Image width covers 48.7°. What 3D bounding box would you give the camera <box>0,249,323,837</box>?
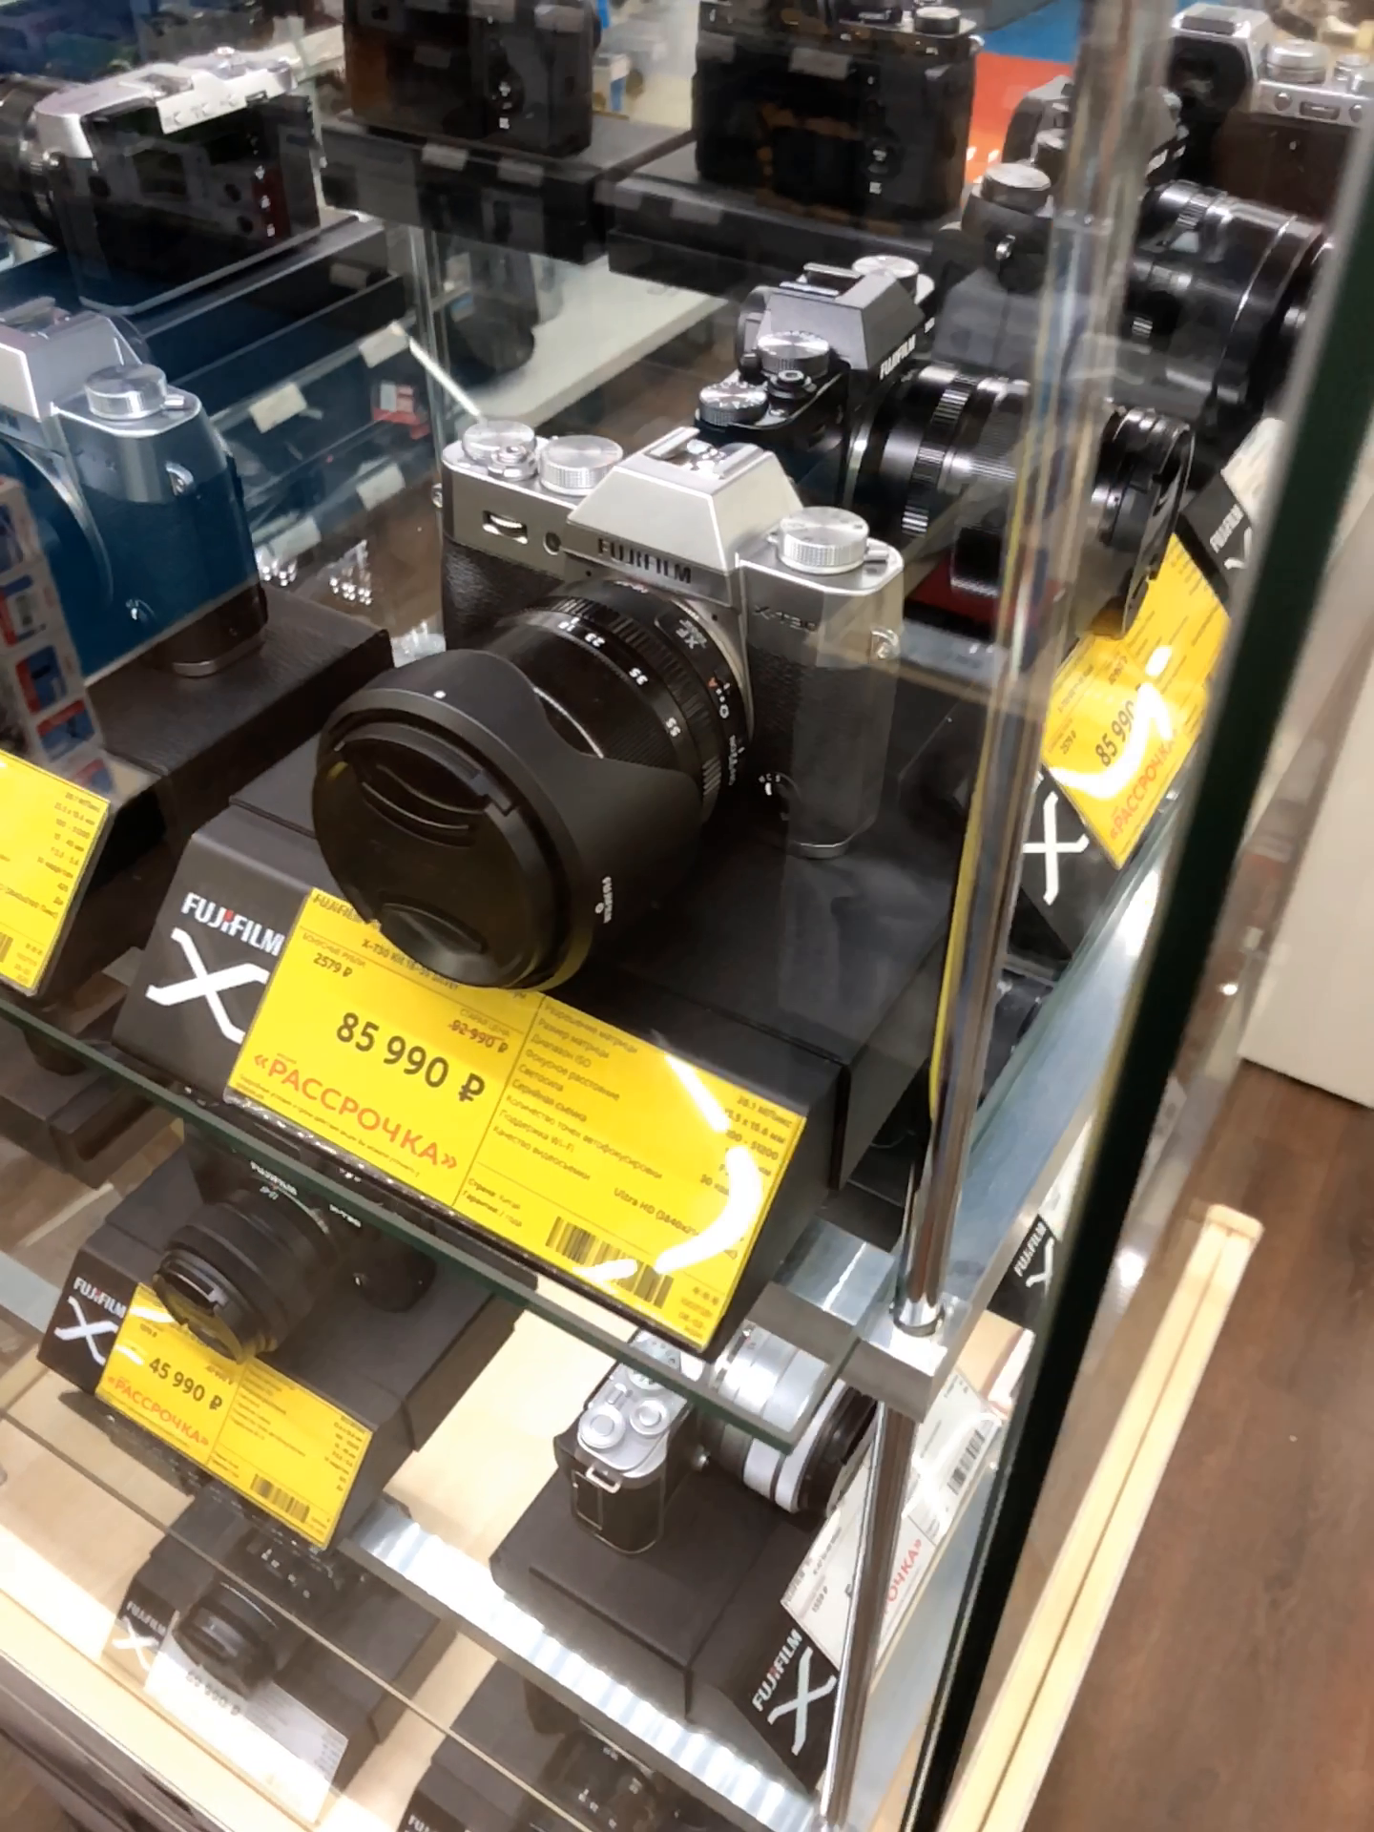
[{"bbox_3d":[-0.191,-0.106,0.408,0.135,0.088,0.104,23,47,23],"label":"camera"}]

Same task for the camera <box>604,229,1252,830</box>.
[{"bbox_3d":[0.068,-0.118,0.431,0.123,0.088,0.145,22,46,22],"label":"camera"}]

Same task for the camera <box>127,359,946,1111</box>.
[{"bbox_3d":[-0.027,-0.049,0.342,0.121,0.088,0.121,23,46,23],"label":"camera"}]
